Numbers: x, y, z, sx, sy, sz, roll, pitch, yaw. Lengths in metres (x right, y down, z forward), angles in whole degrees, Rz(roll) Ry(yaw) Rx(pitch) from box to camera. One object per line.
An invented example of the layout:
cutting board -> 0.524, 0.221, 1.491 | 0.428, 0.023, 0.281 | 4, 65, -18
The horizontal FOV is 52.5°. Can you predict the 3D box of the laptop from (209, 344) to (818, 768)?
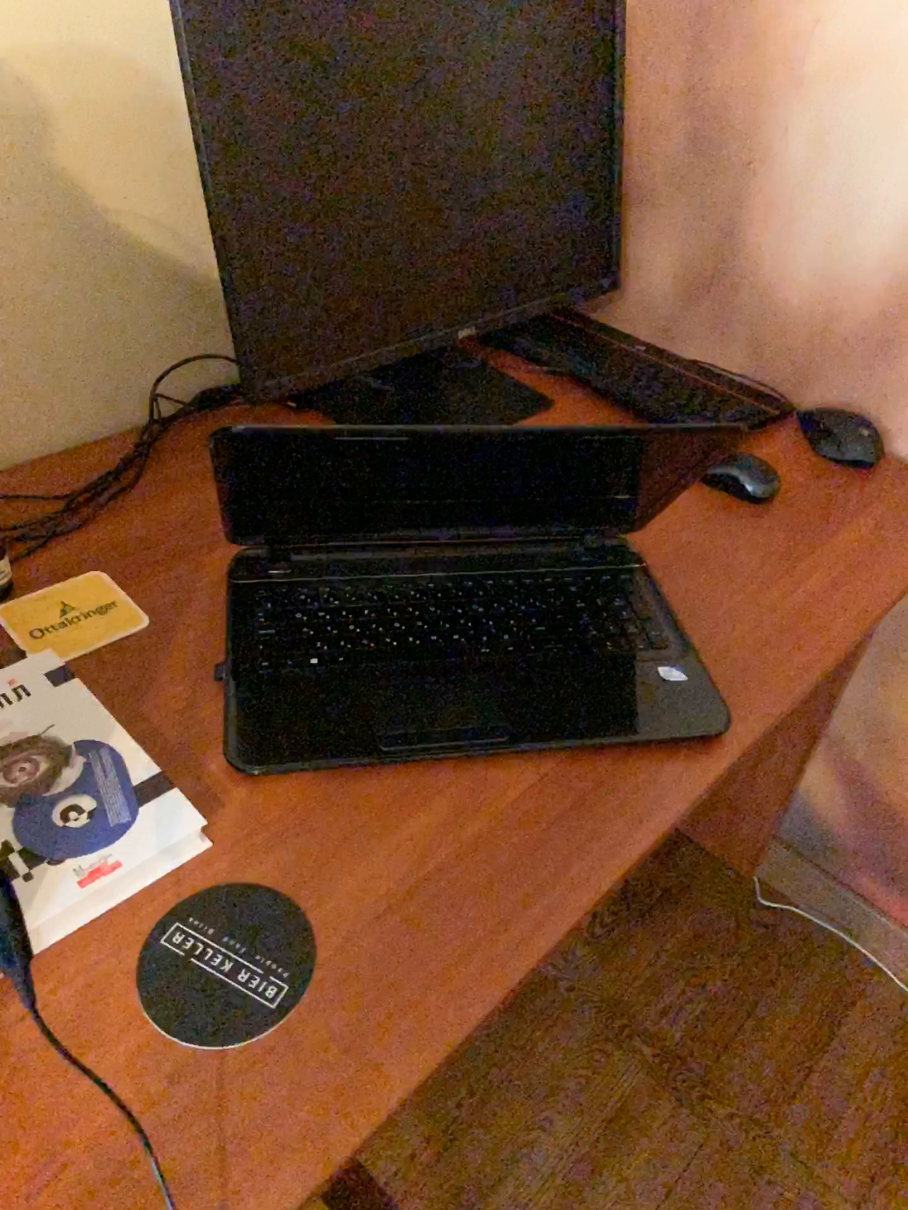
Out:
laptop -> 0.016, -0.051, 0.692 | 0.369, 0.194, 0.245 | -3, 39, -11
